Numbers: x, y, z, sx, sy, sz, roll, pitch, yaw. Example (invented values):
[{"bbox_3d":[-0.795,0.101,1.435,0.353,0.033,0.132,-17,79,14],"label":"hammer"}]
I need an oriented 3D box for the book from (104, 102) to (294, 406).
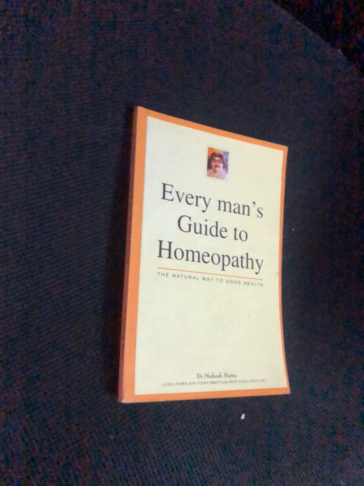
[{"bbox_3d":[0.021,0.010,0.312,0.141,0.026,0.207,8,77,-24],"label":"book"}]
